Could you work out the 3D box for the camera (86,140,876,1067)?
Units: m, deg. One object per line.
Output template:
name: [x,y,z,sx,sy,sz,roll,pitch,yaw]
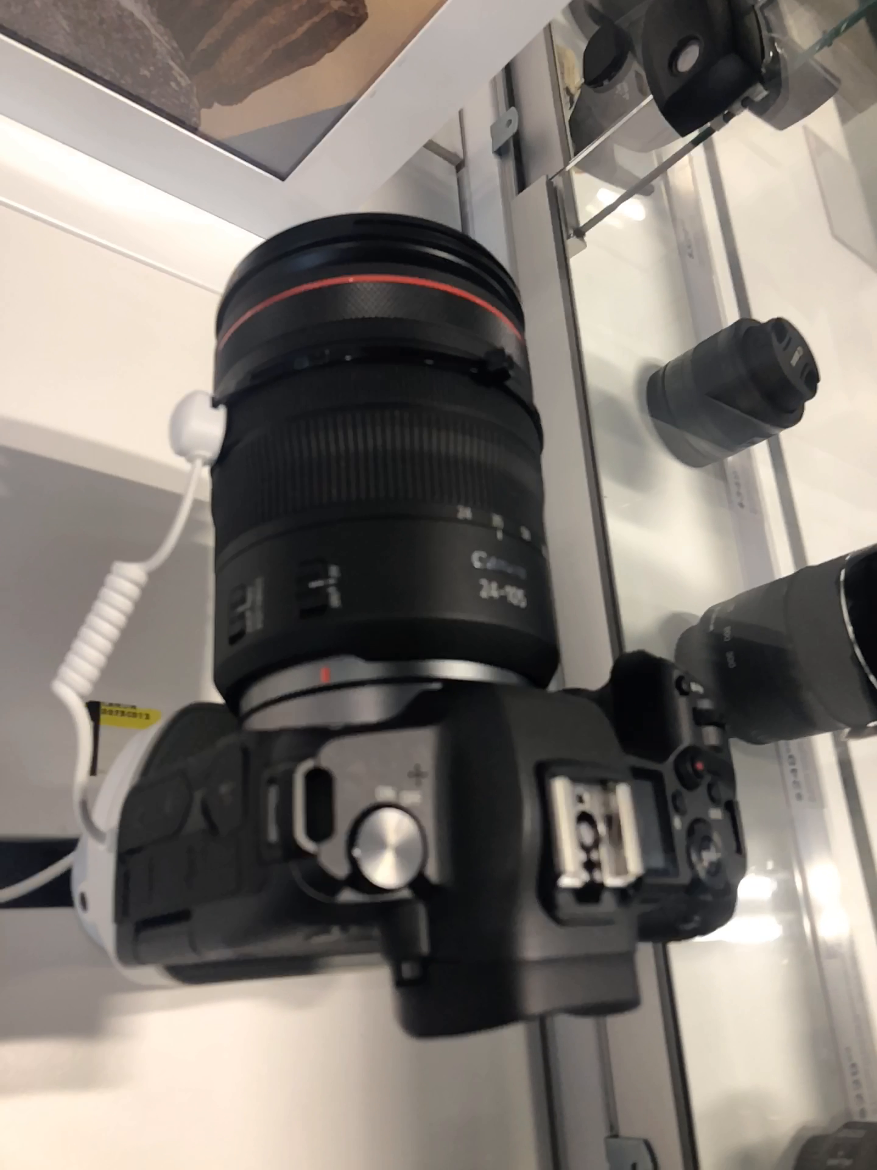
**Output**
camera: [0.010,0.015,0.215,0.139,0.086,0.145,12,63,-39]
